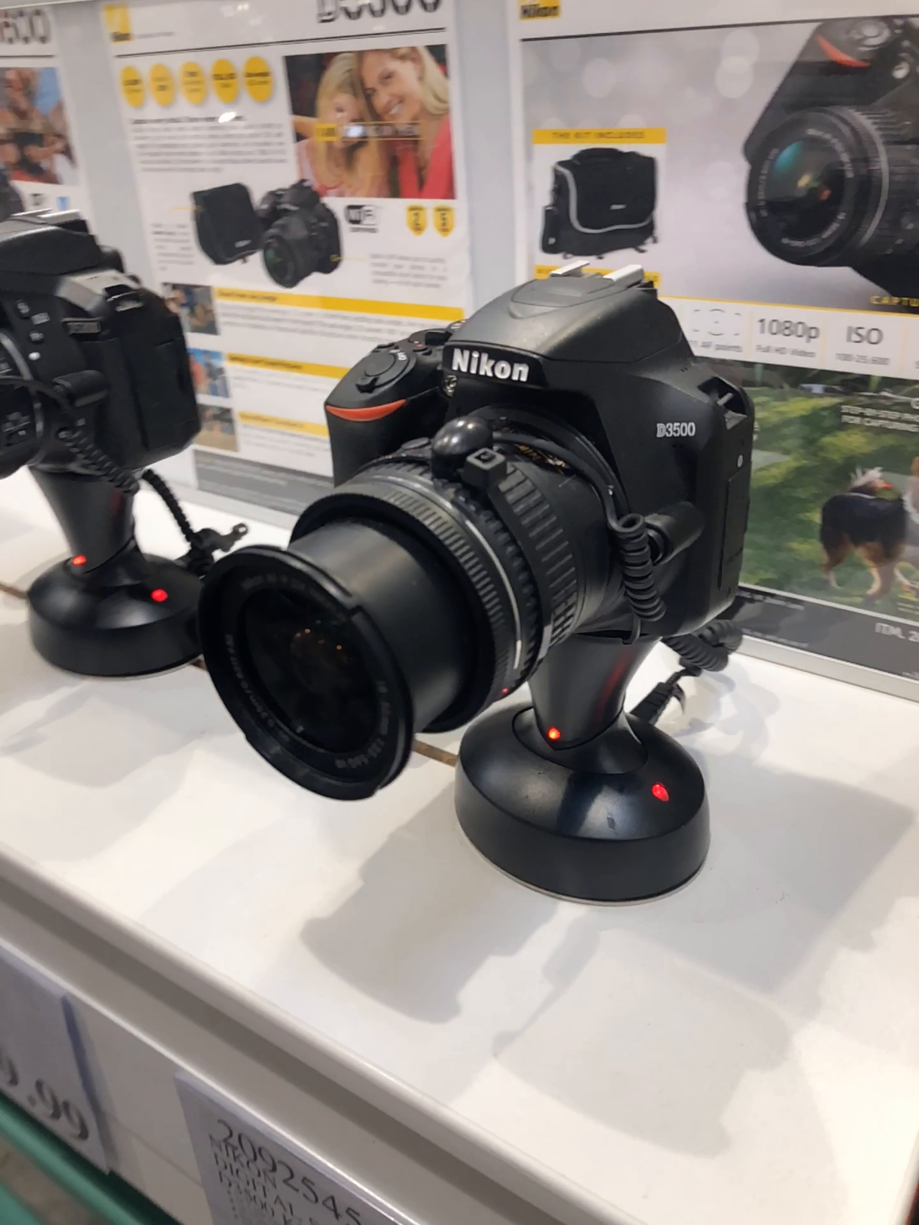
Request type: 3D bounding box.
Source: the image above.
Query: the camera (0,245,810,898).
[{"bbox_3d":[-0.004,-0.030,0.256,0.130,0.089,0.141,16,34,30],"label":"camera"}]
